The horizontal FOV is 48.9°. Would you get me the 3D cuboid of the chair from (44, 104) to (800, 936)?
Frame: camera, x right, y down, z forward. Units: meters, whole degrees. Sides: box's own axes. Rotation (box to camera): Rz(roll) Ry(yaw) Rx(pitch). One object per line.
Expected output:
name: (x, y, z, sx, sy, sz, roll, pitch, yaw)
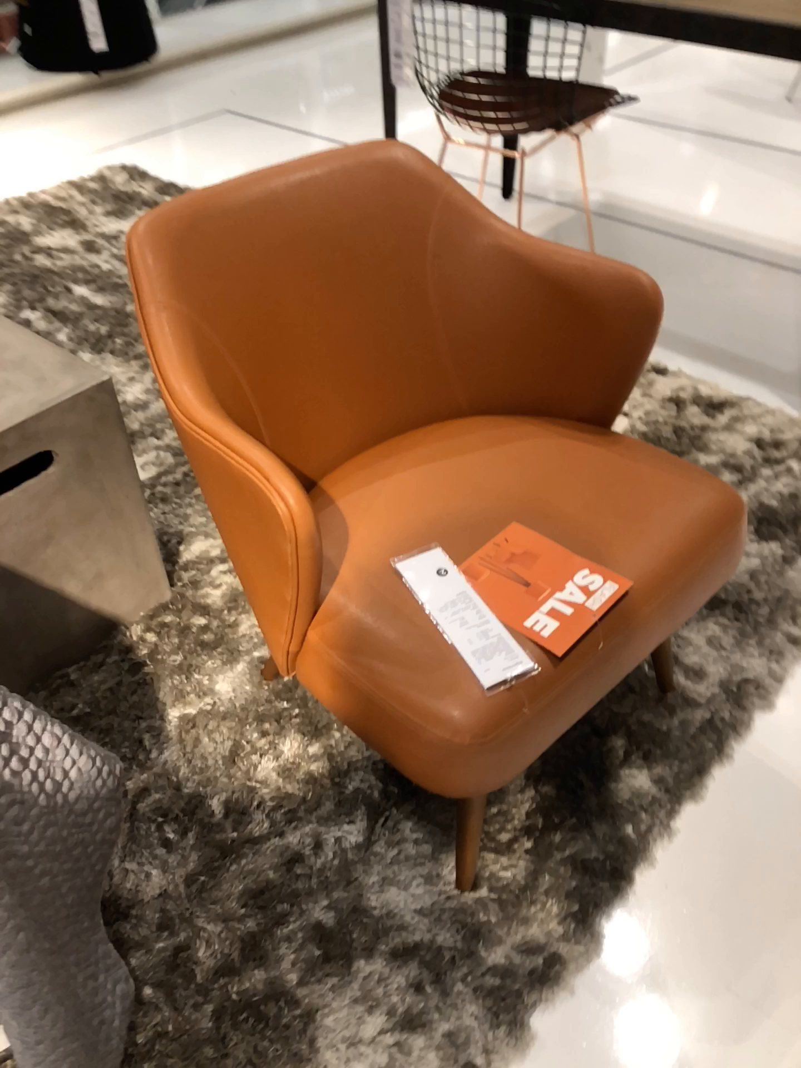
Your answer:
chair: (0.051, -0.066, 1.173, 0.592, 0.705, 0.652, -33, 50, -31)
